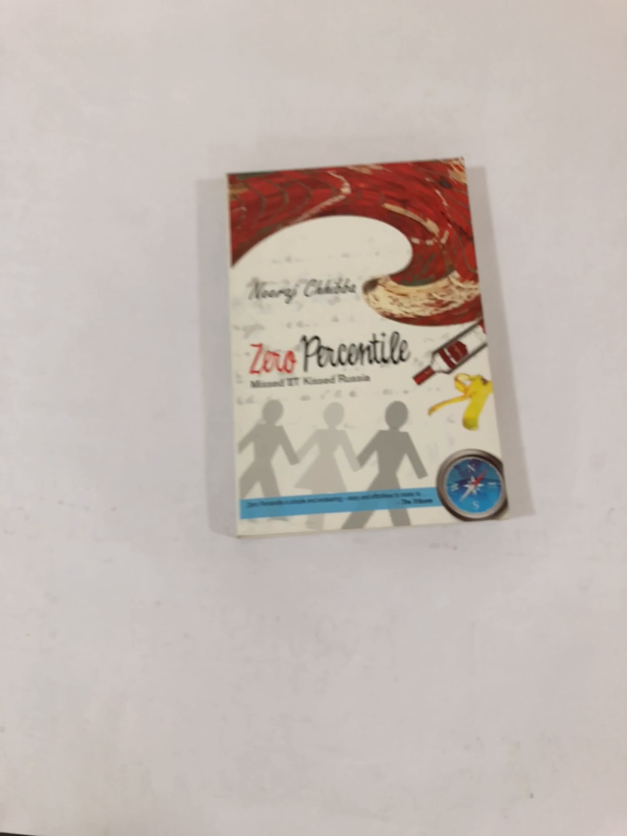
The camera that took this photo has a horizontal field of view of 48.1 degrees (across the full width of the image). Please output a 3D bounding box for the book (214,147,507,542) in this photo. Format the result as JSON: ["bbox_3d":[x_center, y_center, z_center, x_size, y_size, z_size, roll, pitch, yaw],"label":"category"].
[{"bbox_3d":[0.018,-0.042,0.361,0.132,0.021,0.200,-3,75,0],"label":"book"}]
